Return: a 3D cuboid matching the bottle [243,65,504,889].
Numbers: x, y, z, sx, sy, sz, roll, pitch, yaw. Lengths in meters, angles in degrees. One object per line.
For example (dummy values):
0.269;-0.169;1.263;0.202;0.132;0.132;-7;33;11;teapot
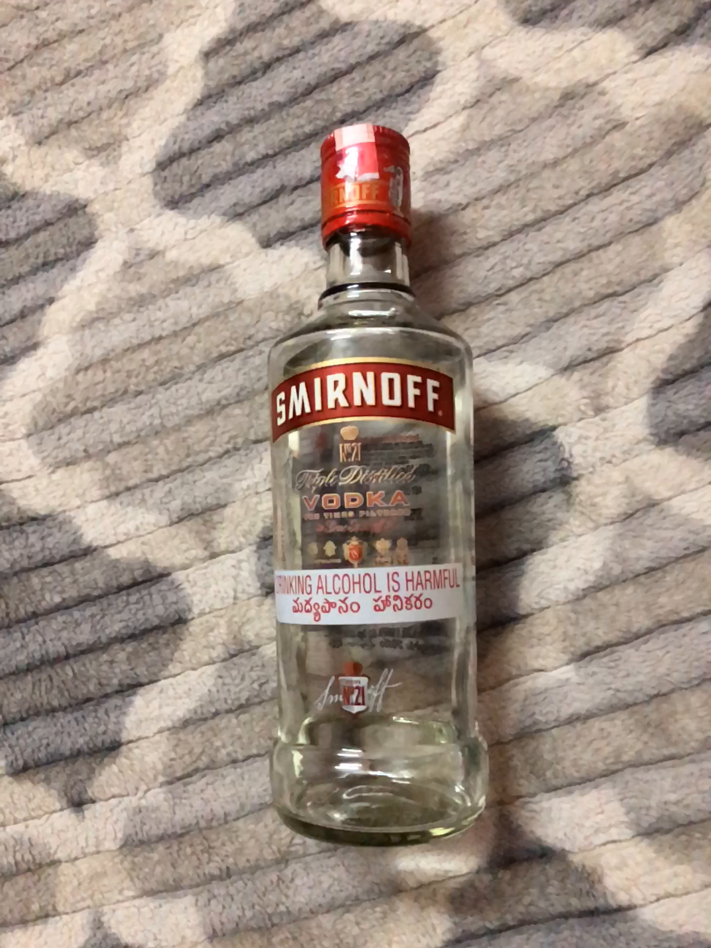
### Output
0.007;-0.002;0.254;0.070;0.060;0.230;-2;82;10;bottle
